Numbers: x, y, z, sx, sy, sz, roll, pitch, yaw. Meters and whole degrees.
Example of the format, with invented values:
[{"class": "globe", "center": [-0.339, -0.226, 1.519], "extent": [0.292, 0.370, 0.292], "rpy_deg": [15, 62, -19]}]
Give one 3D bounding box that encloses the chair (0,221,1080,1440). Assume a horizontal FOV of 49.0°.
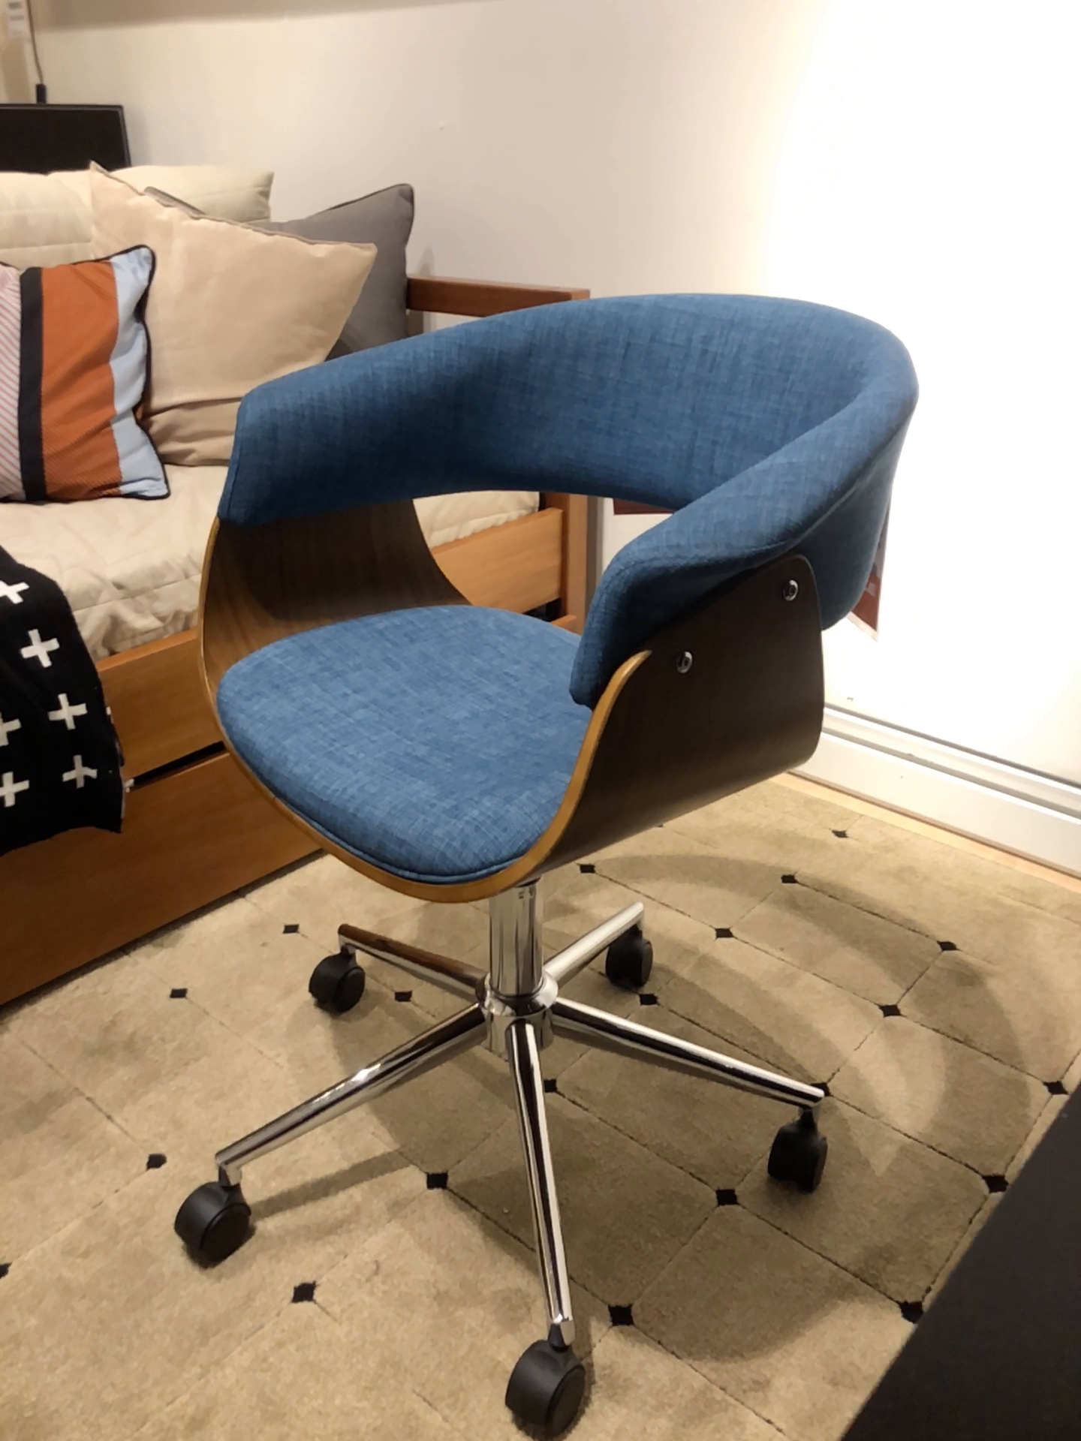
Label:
[{"class": "chair", "center": [-0.042, 0.011, 1.040], "extent": [0.673, 0.774, 0.612], "rpy_deg": [-23, 34, -39]}]
